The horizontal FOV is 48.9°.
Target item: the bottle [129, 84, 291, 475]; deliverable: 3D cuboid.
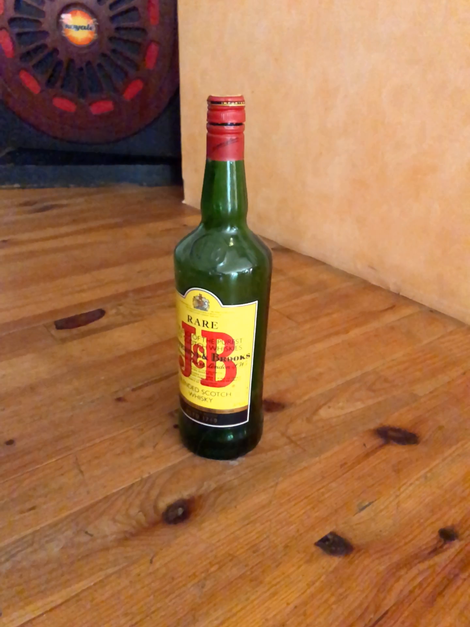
[{"bbox_3d":[-0.019,-0.022,0.450,0.090,0.318,0.081,15,29,26],"label":"bottle"}]
